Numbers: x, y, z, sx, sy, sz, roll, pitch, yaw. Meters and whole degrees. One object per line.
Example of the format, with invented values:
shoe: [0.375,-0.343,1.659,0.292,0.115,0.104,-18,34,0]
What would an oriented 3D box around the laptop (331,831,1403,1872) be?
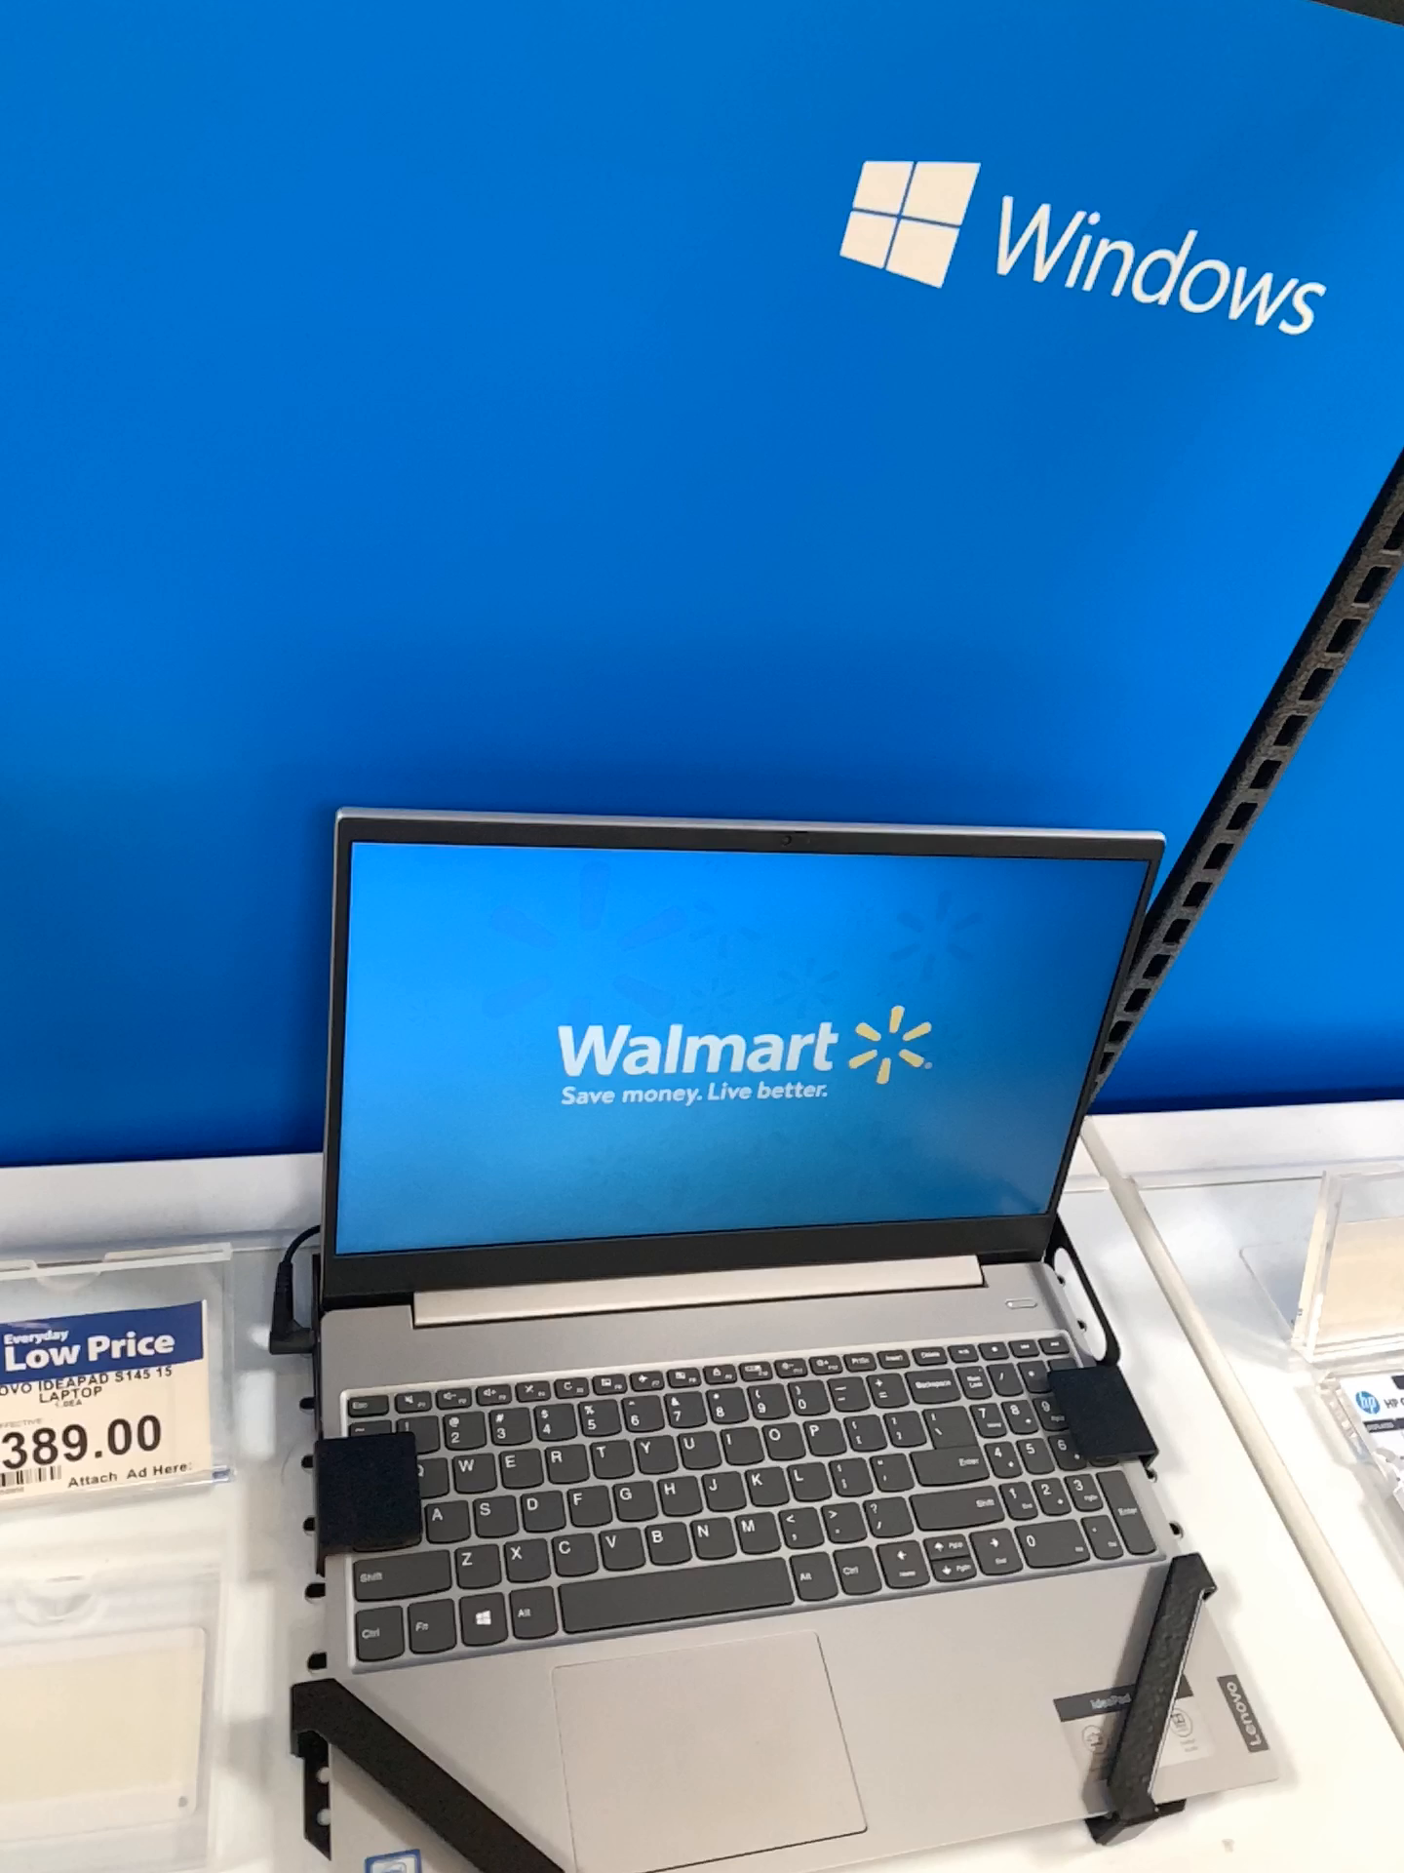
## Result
laptop: [0.047,0.140,0.539,0.350,0.217,0.299,0,43,-17]
